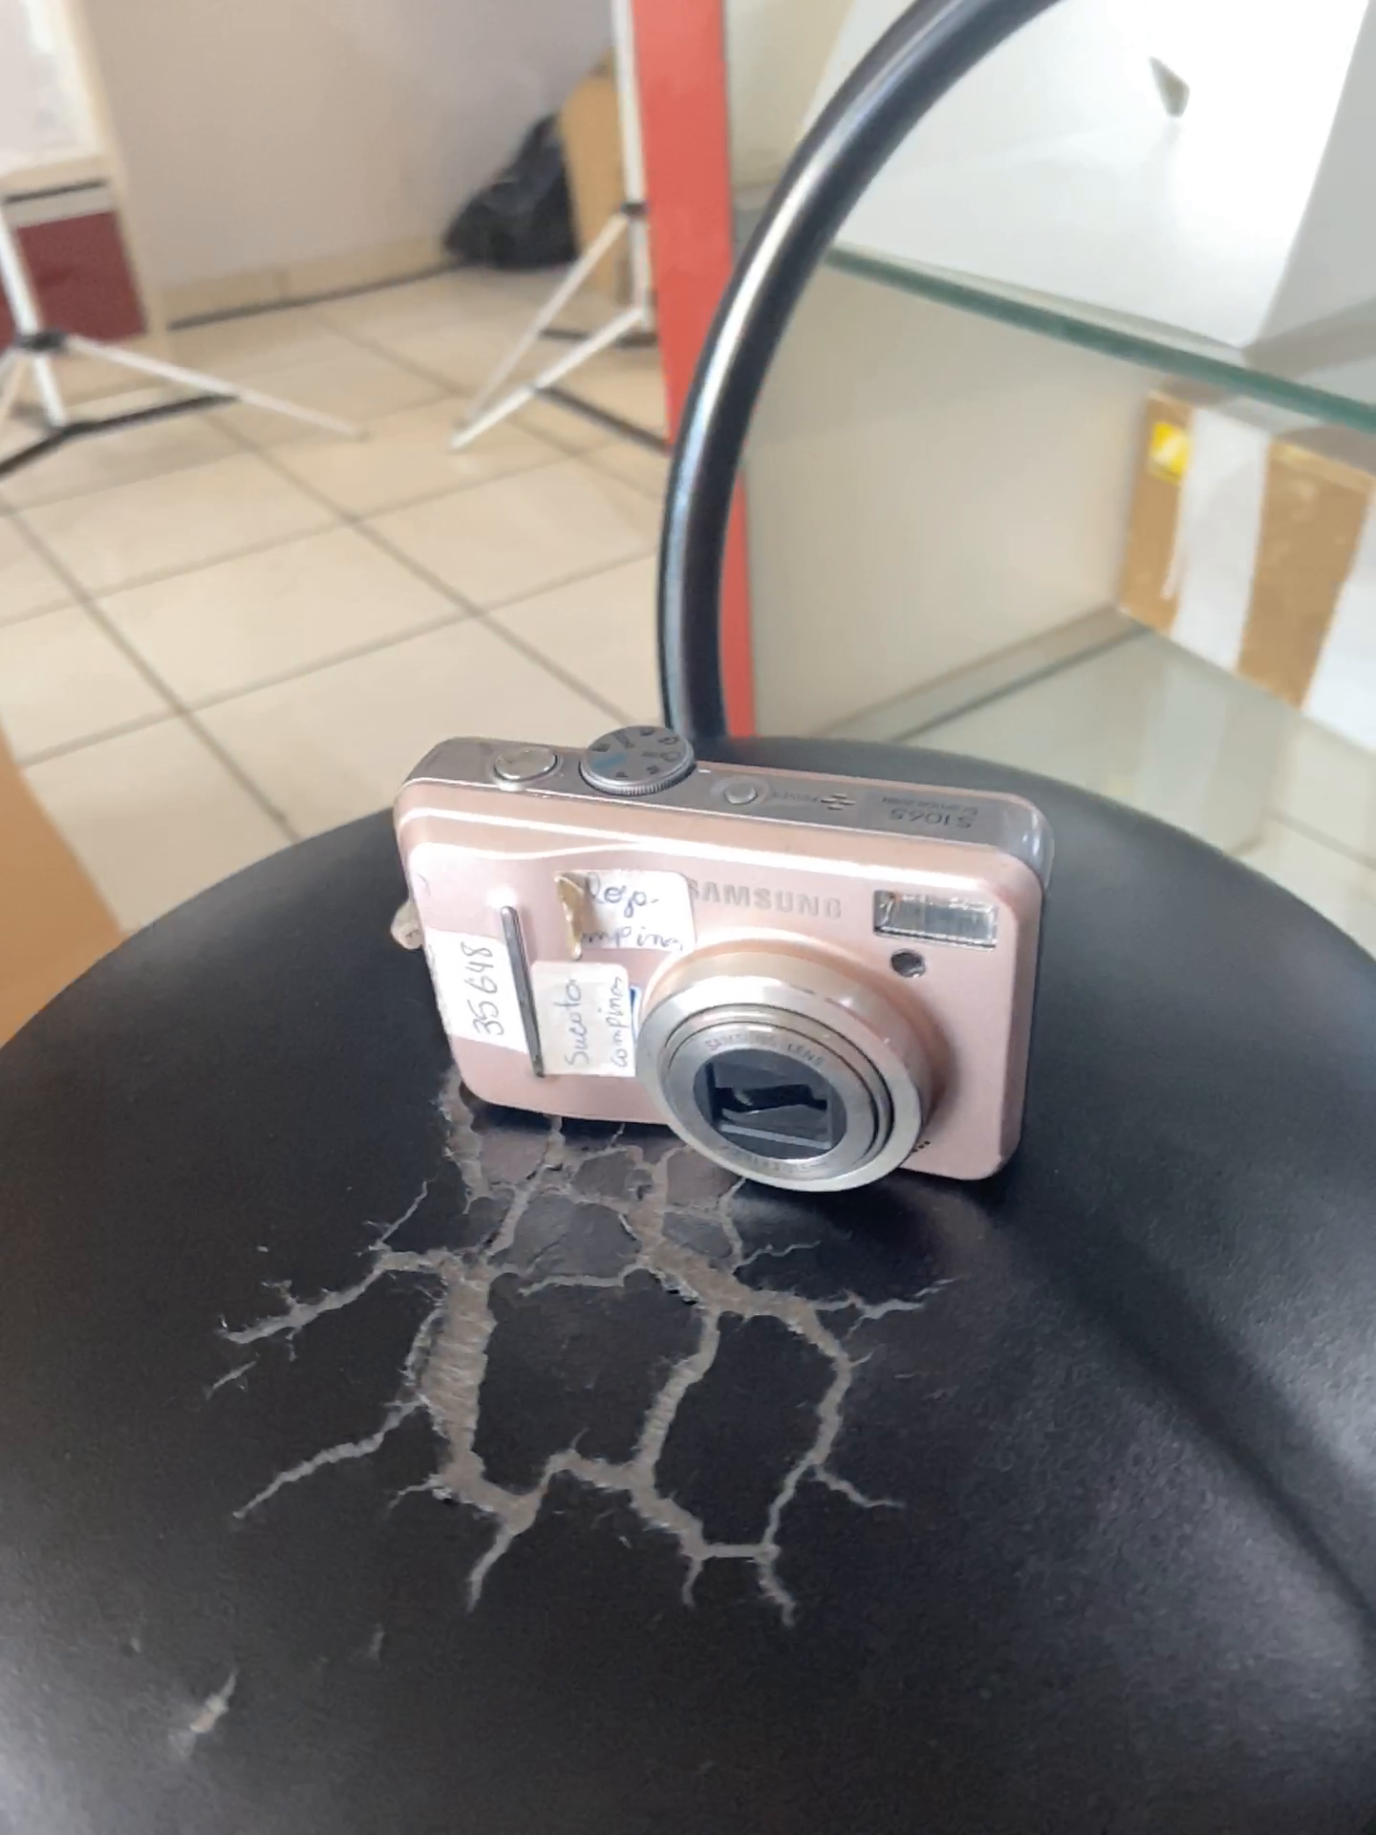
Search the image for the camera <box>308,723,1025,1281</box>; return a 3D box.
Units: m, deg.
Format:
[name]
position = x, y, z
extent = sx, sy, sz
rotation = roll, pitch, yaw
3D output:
[camera]
position = 0.000, 0.013, 0.235
extent = 0.100, 0.070, 0.040
rotation = 7, 39, 14
